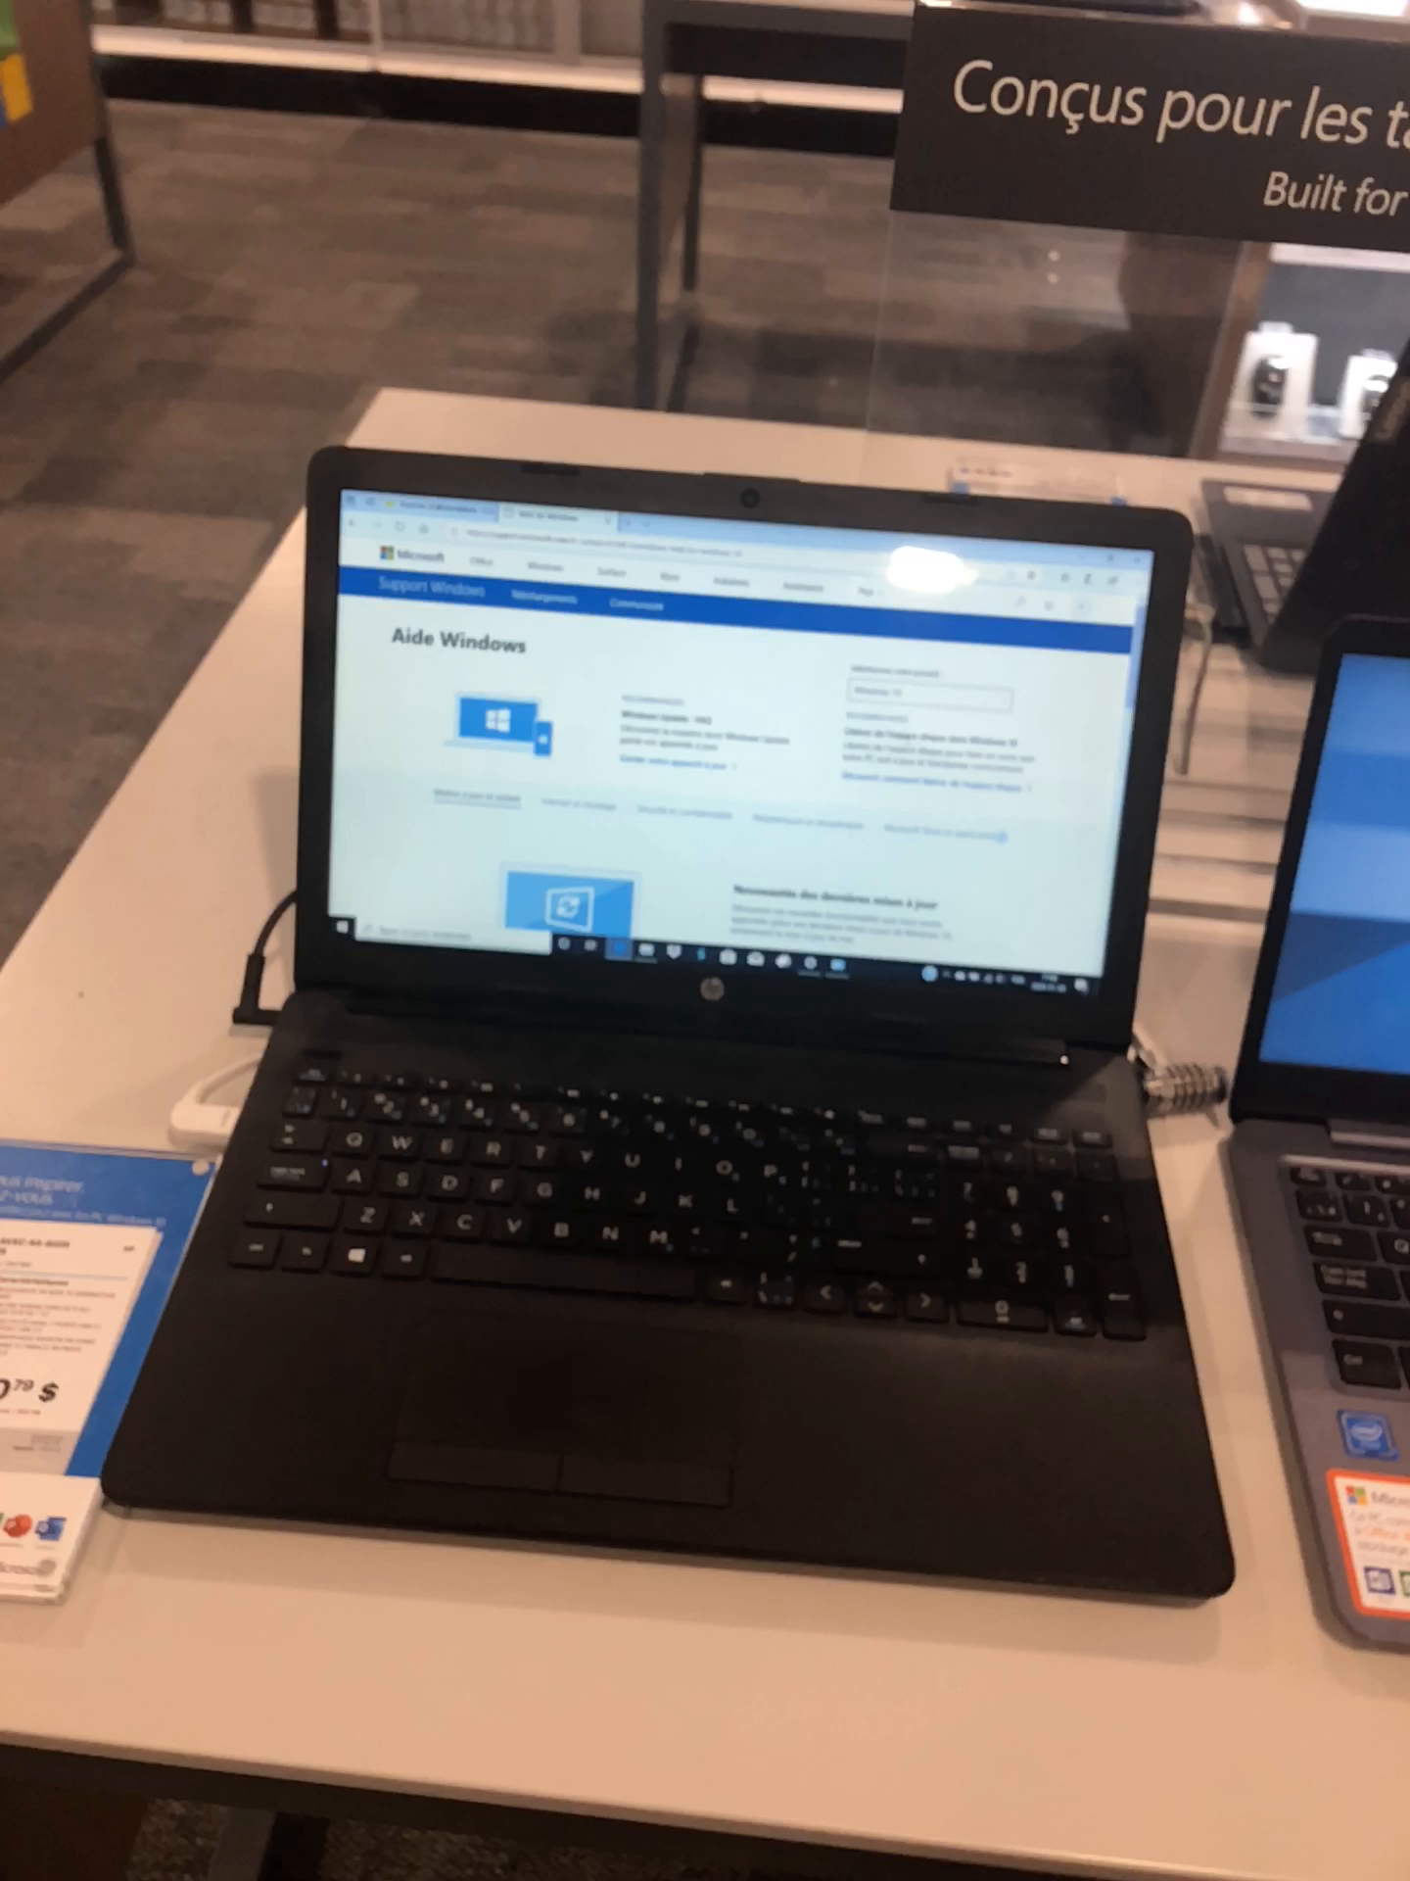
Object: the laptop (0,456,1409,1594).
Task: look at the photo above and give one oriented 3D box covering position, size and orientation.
[{"bbox_3d":[-0.001,0.000,0.571,0.356,0.195,0.361,4,40,2],"label":"laptop"}]
